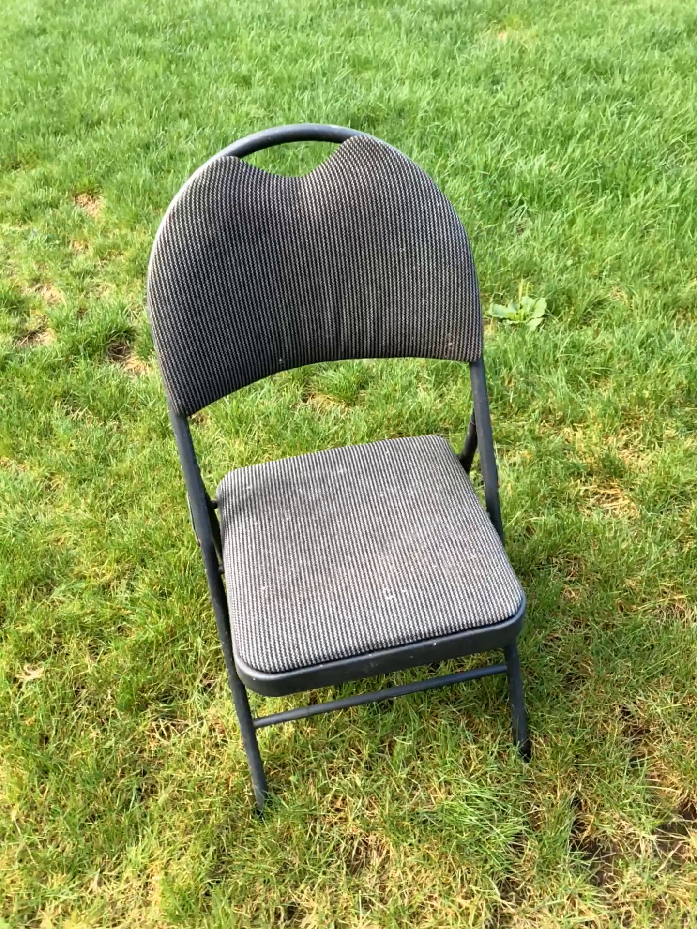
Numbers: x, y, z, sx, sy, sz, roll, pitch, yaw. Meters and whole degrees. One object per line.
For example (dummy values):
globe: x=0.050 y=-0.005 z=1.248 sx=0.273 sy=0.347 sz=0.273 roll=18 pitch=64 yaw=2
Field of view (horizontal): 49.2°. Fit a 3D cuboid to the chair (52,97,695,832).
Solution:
chair: x=0.005 y=0.026 z=1.102 sx=0.530 sy=0.814 sz=0.574 roll=-10 pitch=44 yaw=-5
